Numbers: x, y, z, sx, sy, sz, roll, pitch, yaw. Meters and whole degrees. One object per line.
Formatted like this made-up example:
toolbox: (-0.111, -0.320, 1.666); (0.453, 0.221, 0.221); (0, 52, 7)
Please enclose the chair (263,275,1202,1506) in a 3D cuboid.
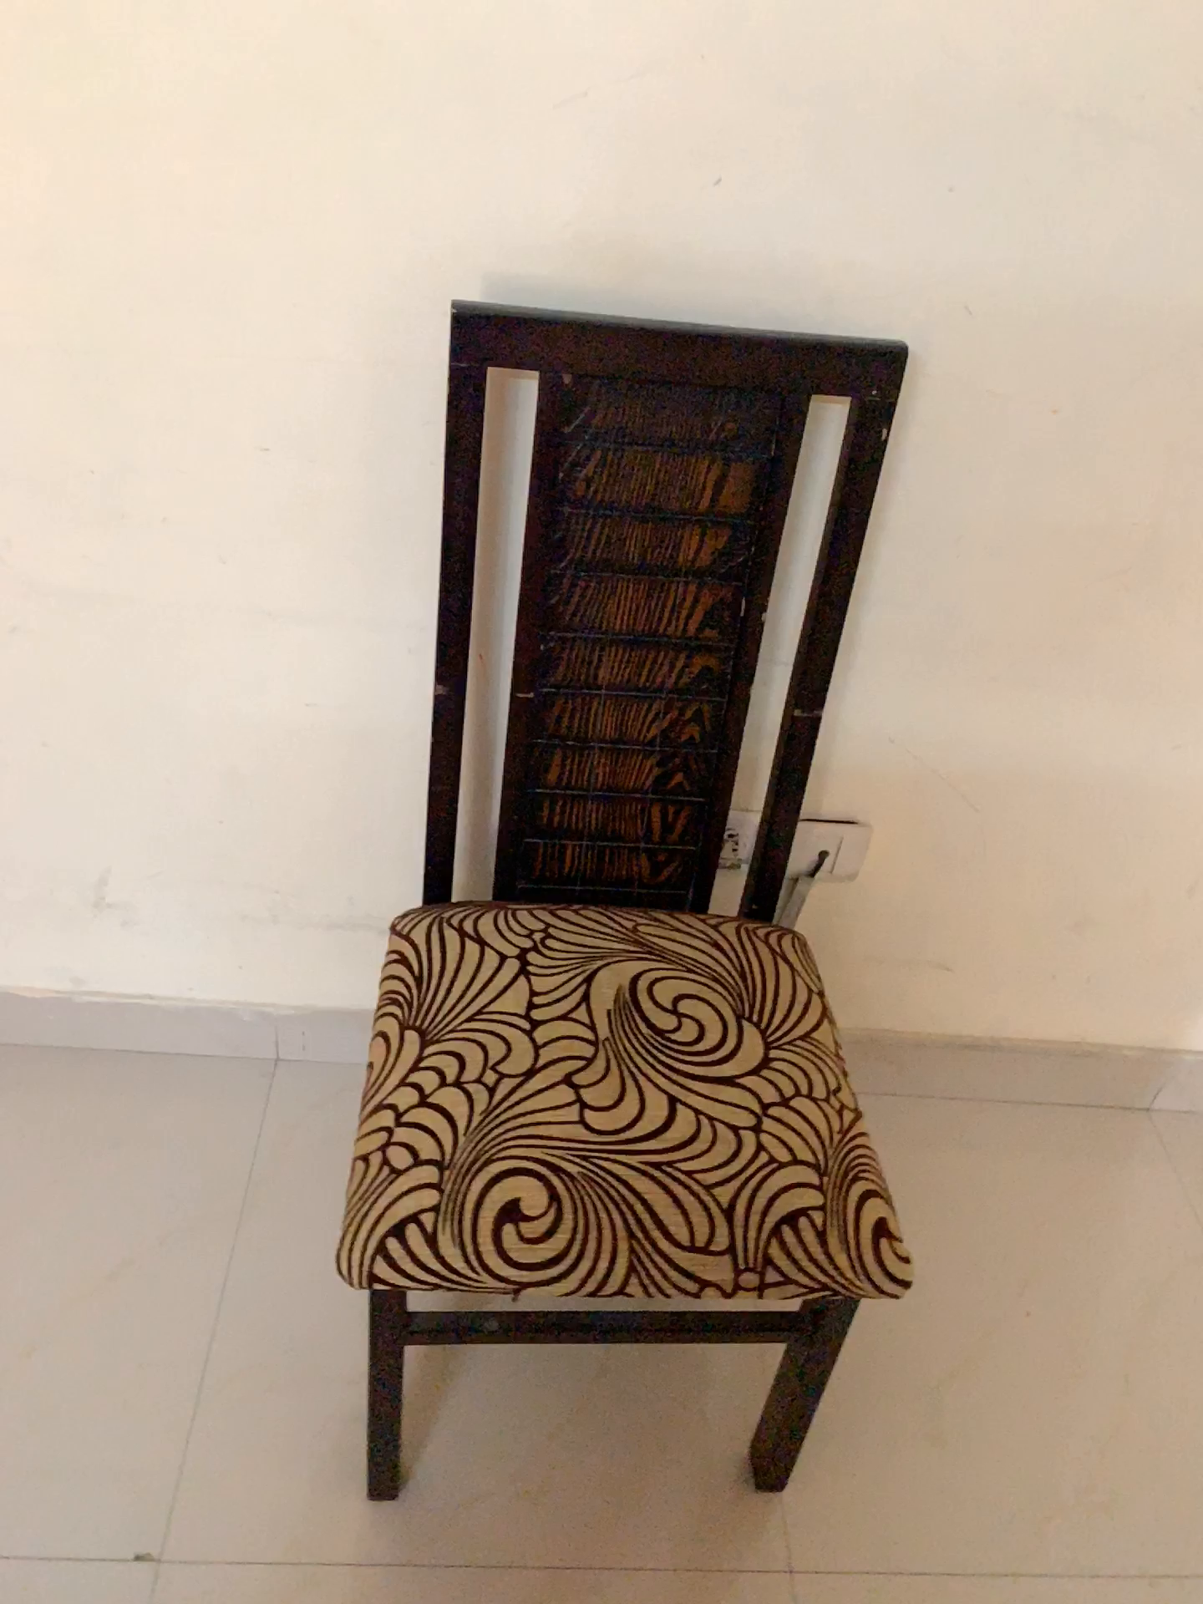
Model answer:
chair: (0.025, 0.111, 1.117); (0.530, 0.922, 0.585); (3, 37, -8)
